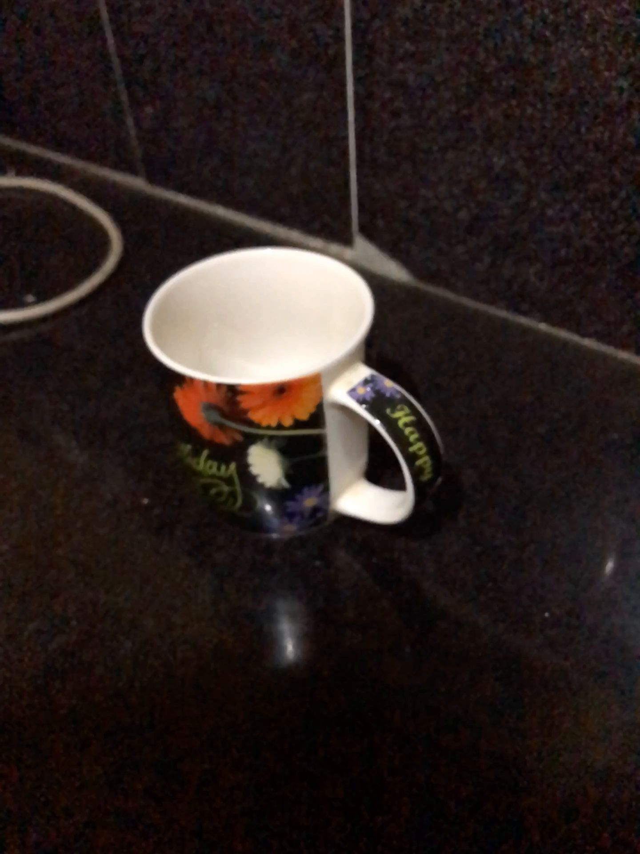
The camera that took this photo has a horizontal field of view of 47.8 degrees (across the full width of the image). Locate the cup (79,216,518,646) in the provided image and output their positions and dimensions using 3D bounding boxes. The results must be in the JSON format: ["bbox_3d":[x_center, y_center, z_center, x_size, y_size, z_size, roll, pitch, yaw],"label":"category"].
[{"bbox_3d":[-0.008,-0.006,0.286,0.130,0.089,0.090,31,54,32],"label":"cup"}]
